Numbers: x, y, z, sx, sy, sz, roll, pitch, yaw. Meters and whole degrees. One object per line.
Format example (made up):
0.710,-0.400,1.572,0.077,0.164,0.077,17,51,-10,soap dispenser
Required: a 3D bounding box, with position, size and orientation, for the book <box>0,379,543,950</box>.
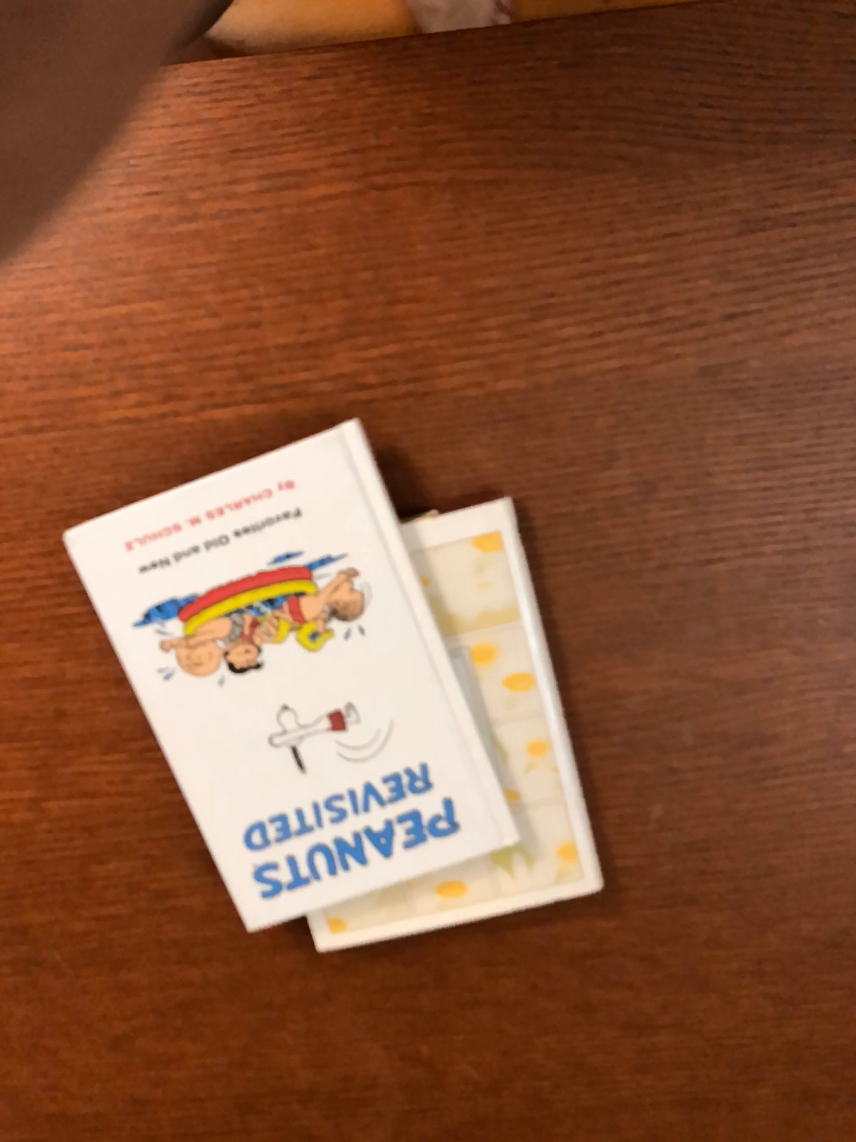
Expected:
-0.063,0.047,0.418,0.160,0.020,0.210,-22,102,6,book
